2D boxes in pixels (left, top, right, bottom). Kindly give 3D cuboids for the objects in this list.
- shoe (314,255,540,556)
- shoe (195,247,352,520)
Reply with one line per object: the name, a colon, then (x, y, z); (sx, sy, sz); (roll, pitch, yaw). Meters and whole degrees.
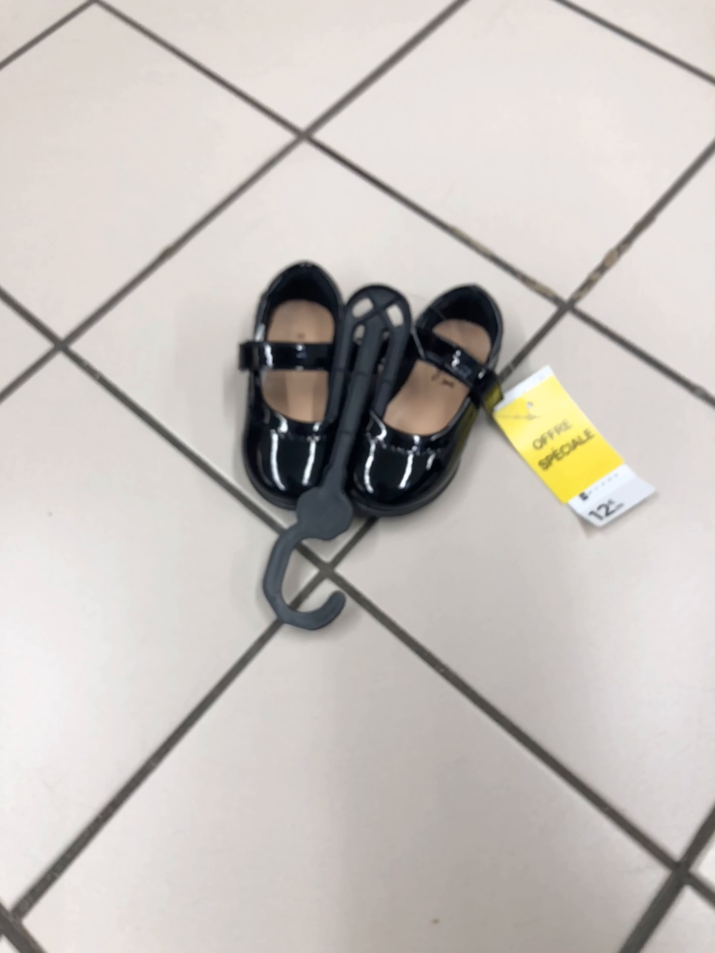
shoe: (0.036, -0.036, 0.394); (0.059, 0.048, 0.130); (22, 69, 11)
shoe: (-0.037, -0.047, 0.398); (0.059, 0.048, 0.127); (2, 67, 3)
